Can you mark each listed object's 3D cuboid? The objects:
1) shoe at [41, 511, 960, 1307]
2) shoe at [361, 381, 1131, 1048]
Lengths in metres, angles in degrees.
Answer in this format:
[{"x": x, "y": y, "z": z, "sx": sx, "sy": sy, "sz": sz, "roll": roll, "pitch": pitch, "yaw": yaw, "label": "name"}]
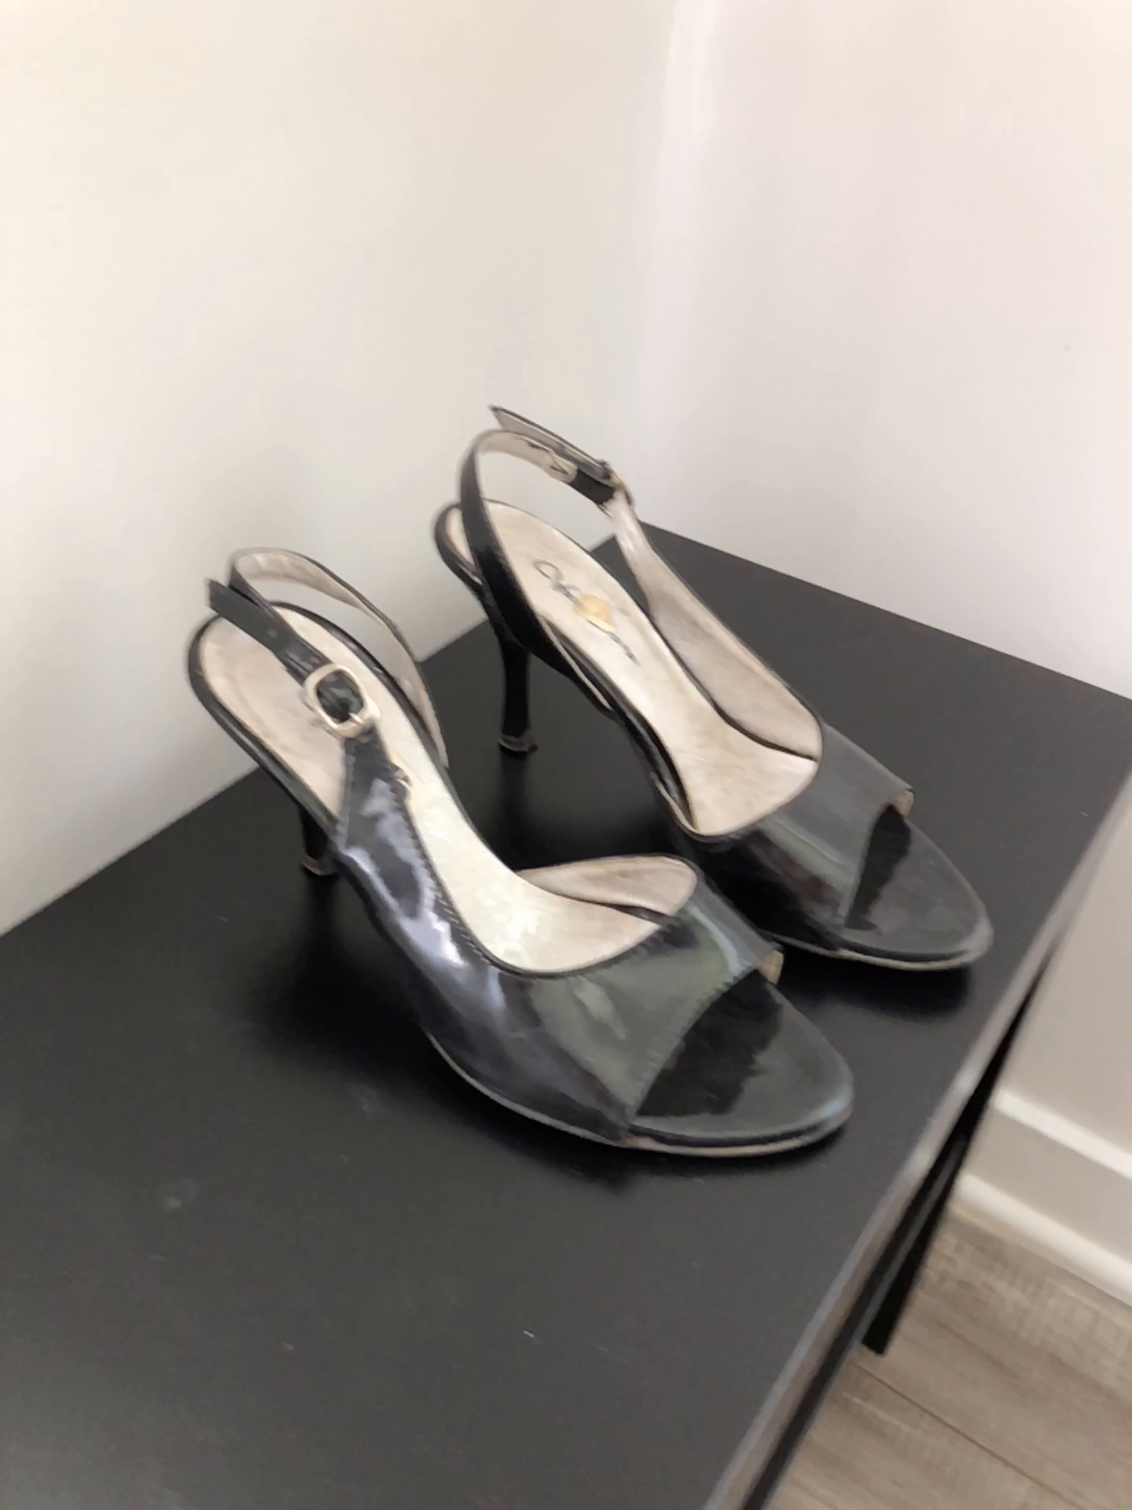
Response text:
[{"x": -0.023, "y": 0.029, "z": 0.333, "sx": 0.210, "sy": 0.110, "sz": 0.083, "roll": 23, "pitch": 41, "yaw": 23, "label": "shoe"}, {"x": 0.043, "y": -0.024, "z": 0.390, "sx": 0.211, "sy": 0.110, "sz": 0.083, "roll": 27, "pitch": 43, "yaw": 28, "label": "shoe"}]
